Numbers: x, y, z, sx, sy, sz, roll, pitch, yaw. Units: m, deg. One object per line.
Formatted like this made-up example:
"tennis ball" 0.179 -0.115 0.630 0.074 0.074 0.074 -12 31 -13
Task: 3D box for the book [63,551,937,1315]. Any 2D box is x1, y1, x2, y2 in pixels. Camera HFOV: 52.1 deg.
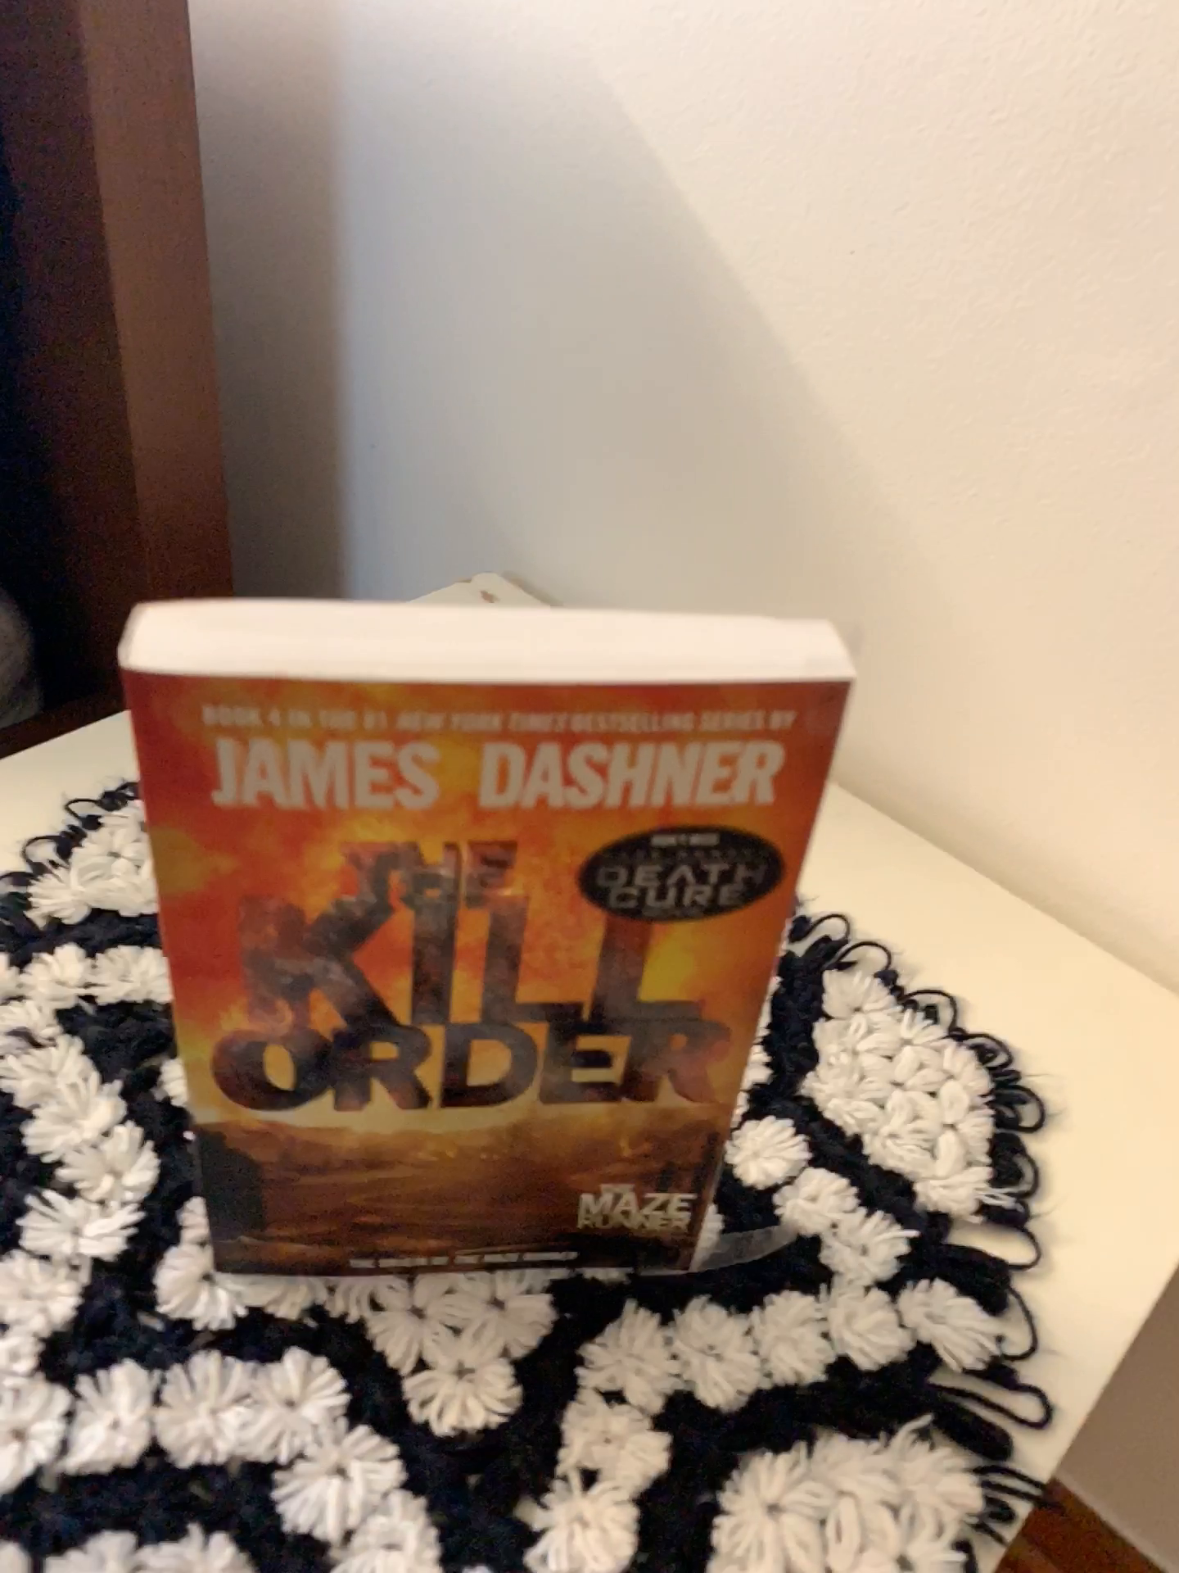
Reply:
"book" -0.026 0.053 0.297 0.160 0.218 0.030 1 37 -9
